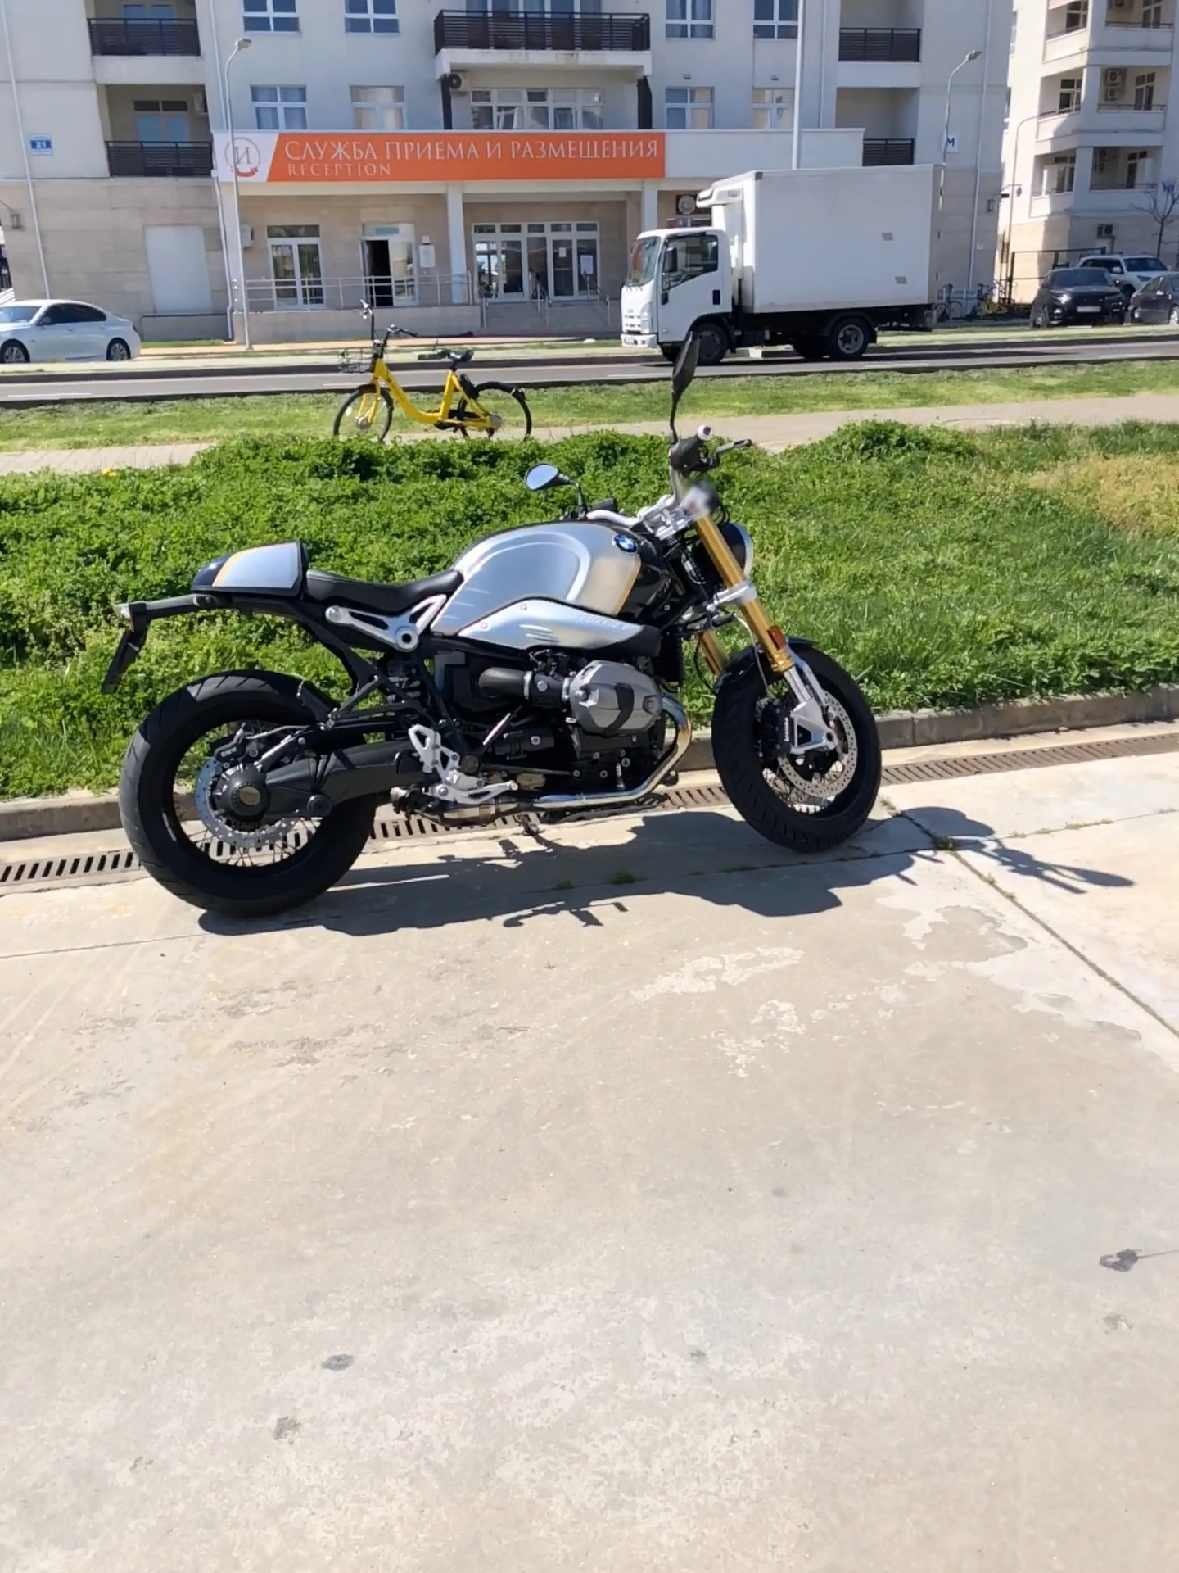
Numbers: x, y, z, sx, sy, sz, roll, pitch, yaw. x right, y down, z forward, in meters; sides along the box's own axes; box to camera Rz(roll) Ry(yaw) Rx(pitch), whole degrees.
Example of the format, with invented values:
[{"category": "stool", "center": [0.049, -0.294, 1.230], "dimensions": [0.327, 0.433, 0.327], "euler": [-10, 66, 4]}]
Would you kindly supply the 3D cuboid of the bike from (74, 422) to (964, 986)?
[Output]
[{"category": "bike", "center": [-0.152, -0.305, 3.413], "dimensions": [2.068, 1.122, 0.649], "euler": [-8, 22, -18]}]
